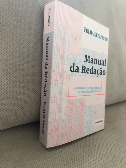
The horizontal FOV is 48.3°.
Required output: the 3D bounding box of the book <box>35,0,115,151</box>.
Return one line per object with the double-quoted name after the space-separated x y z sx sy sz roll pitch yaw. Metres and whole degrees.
0.033 -0.016 0.274 0.166 0.229 0.040 0 2 -39 "book"
